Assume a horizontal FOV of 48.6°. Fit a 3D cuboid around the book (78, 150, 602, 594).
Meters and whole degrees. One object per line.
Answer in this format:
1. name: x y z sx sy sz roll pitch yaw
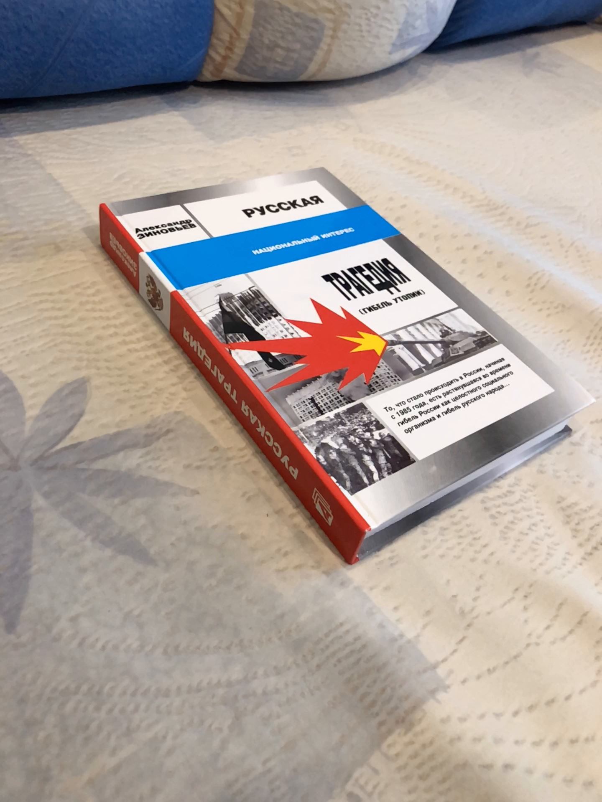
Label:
1. book: 0.016 -0.038 0.311 0.161 0.040 0.201 -22 56 -29
